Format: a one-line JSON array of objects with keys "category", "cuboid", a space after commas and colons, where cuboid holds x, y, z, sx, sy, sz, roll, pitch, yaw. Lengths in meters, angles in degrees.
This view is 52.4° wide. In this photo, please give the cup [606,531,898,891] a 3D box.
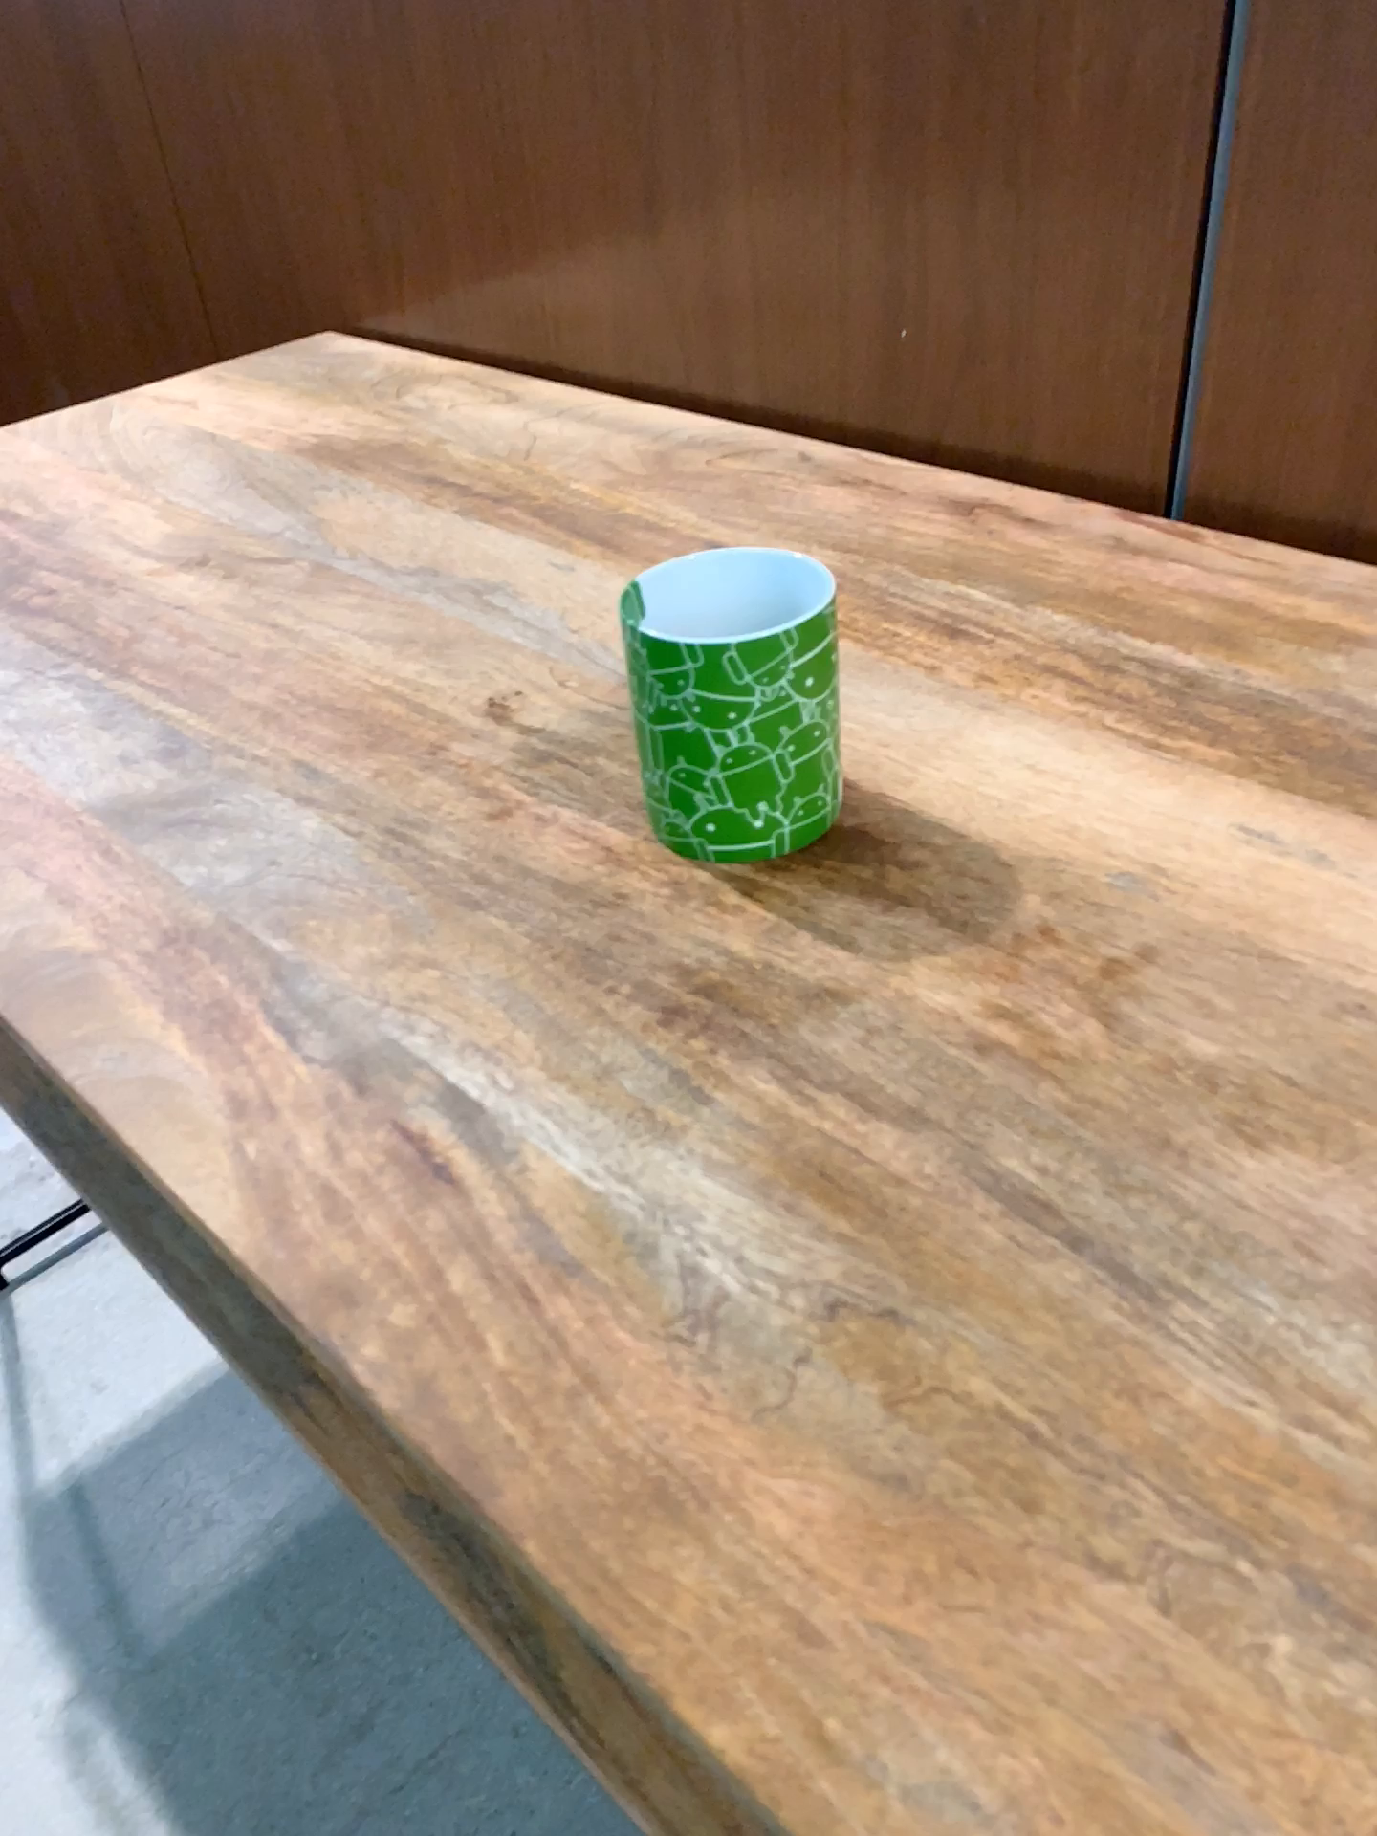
[{"category": "cup", "cuboid": [0.022, -0.086, 0.556, 0.100, 0.080, 0.131, -6, 37, 1]}]
